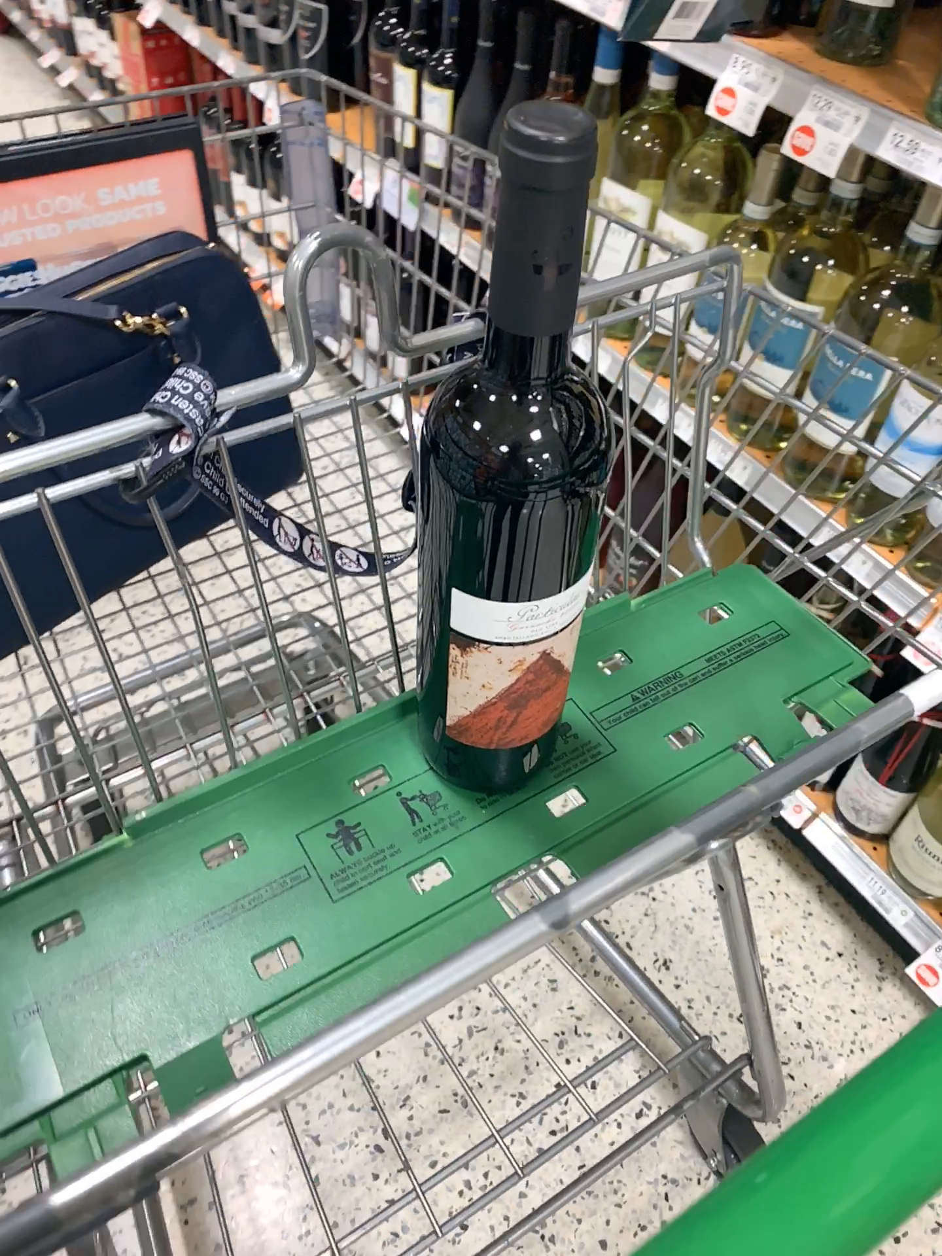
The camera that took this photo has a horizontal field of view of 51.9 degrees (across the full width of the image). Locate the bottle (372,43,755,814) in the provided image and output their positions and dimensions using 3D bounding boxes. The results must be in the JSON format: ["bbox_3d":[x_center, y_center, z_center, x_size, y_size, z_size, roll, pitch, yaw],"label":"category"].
[{"bbox_3d":[0.018,-0.051,0.388,0.080,0.297,0.081,2,48,-2],"label":"bottle"}]
